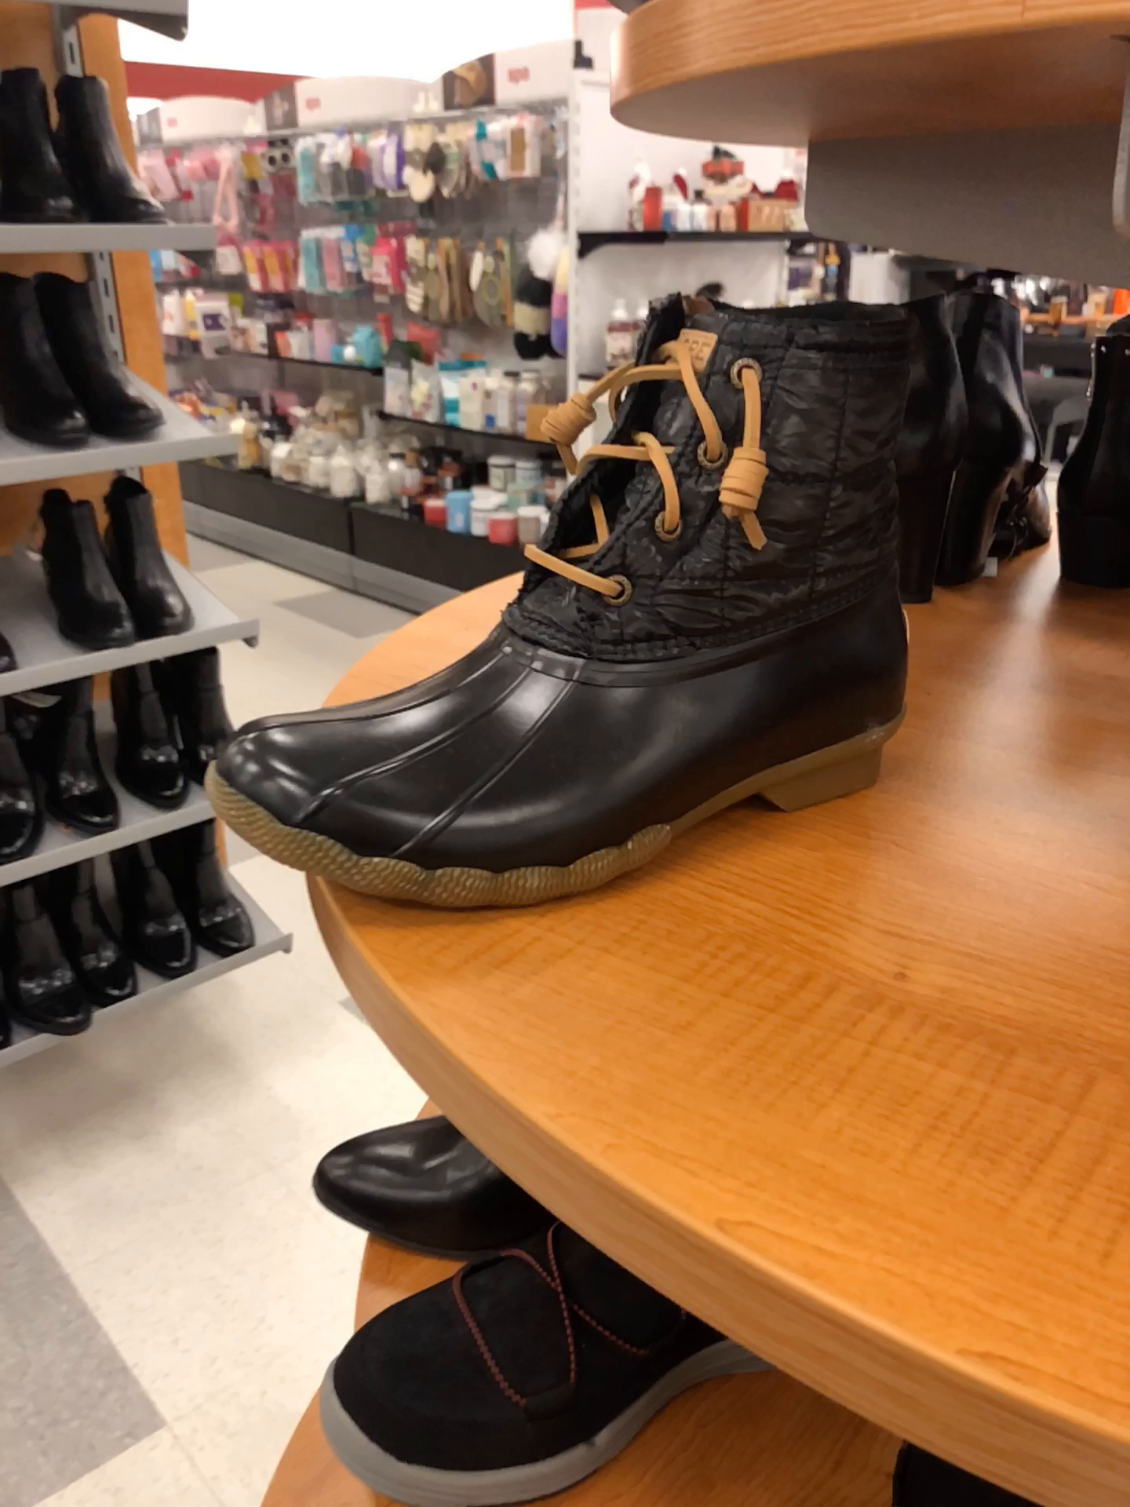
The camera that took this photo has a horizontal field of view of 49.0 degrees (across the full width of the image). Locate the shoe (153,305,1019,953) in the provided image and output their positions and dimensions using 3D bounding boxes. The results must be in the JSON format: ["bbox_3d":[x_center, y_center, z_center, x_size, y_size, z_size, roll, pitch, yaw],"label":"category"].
[{"bbox_3d":[0.006,-0.057,0.393,0.231,0.157,0.113,-10,22,-22],"label":"shoe"}]
